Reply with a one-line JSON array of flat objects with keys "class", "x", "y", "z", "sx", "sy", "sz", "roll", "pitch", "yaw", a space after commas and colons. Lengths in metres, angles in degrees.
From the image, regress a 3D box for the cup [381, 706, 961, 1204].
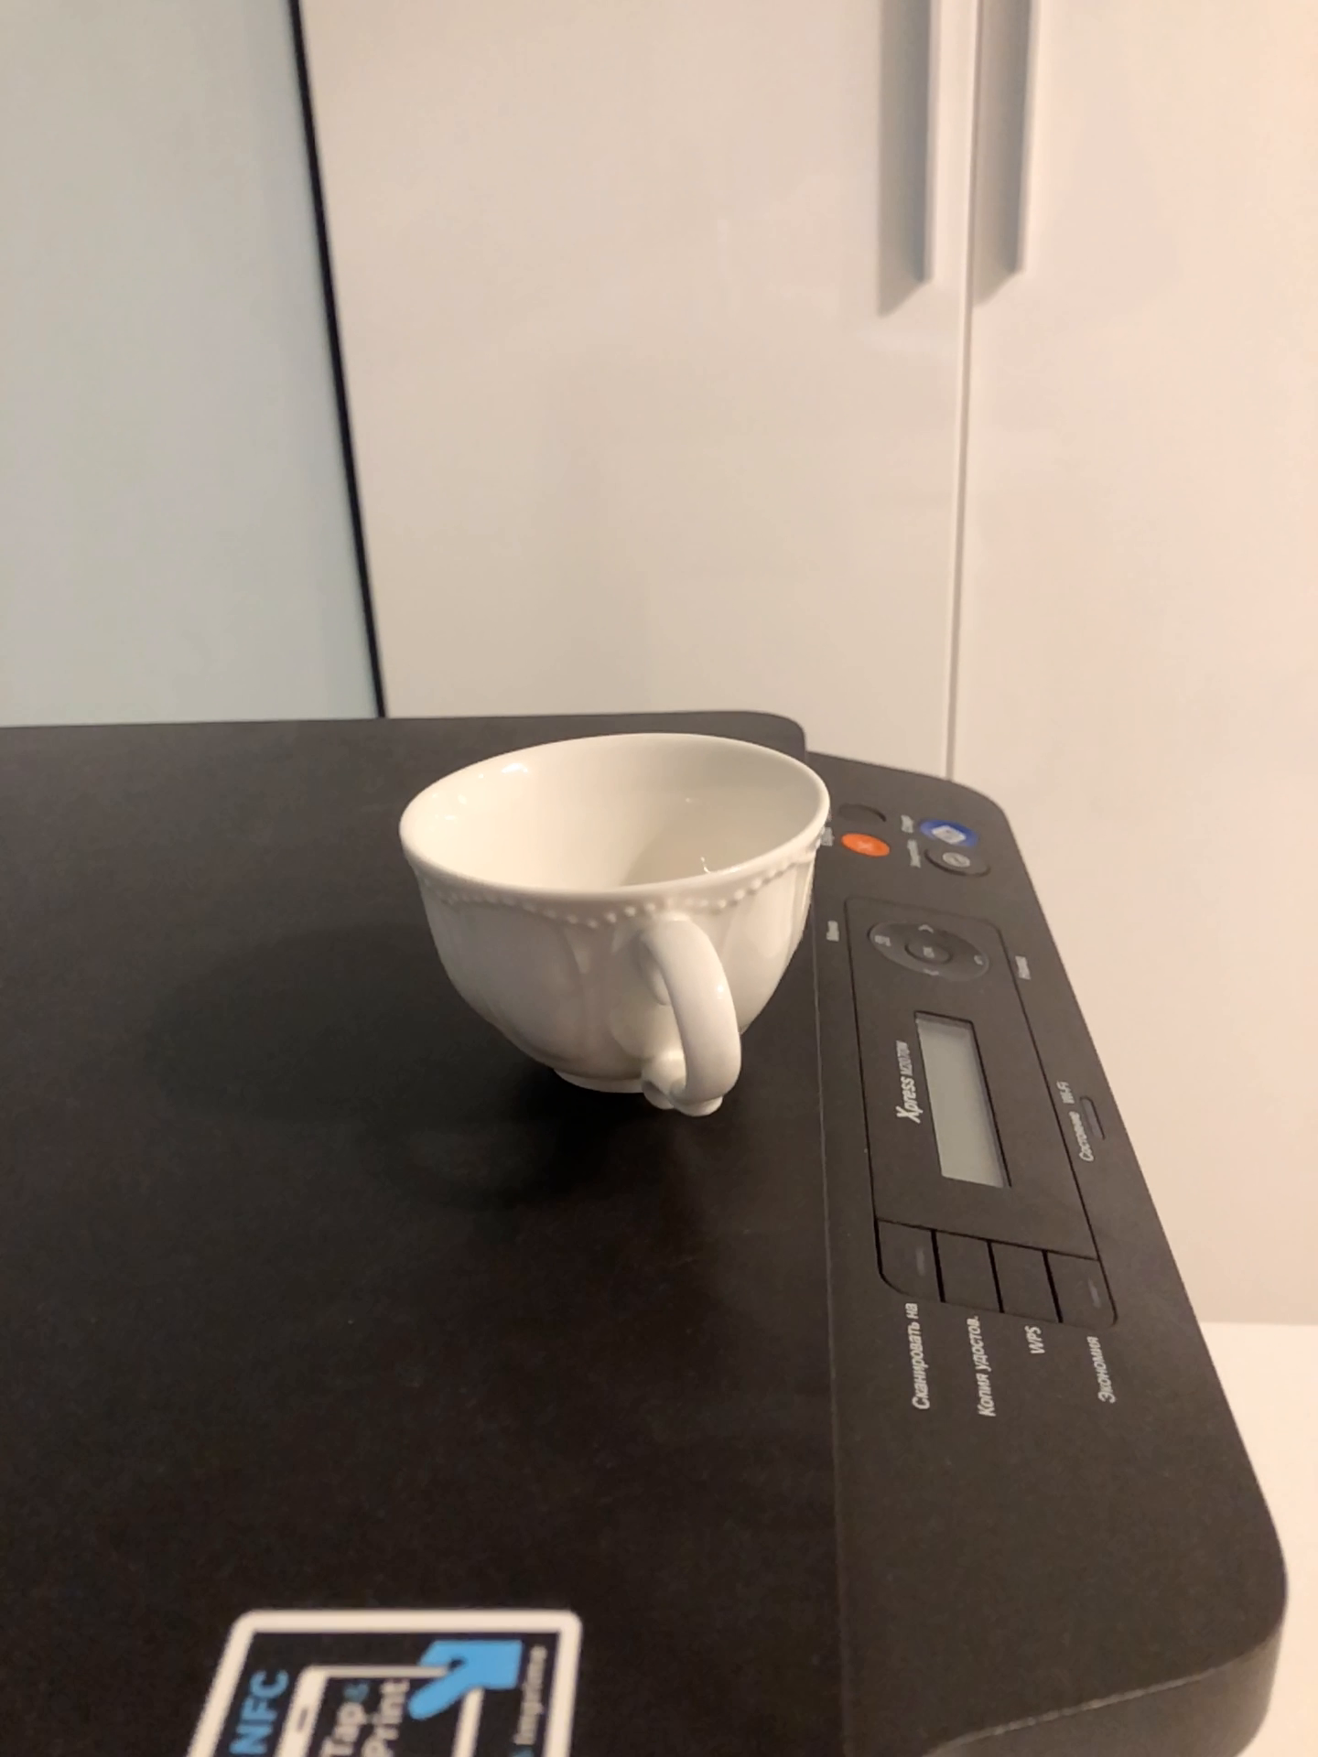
[{"class": "cup", "x": -0.003, "y": 0.006, "z": 0.261, "sx": 0.076, "sy": 0.044, "sz": 0.094, "roll": -9, "pitch": 22, "yaw": -15}]
